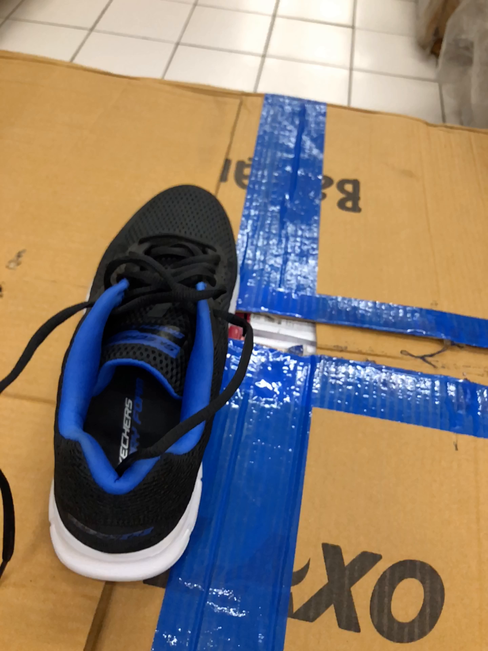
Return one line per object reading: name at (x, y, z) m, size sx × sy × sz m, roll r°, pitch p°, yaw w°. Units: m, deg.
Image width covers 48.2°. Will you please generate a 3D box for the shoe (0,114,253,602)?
shoe at (-0.066, 0.002, 0.339) m, size 0.114 × 0.106 × 0.279 m, roll 7°, pitch 53°, yaw -1°
